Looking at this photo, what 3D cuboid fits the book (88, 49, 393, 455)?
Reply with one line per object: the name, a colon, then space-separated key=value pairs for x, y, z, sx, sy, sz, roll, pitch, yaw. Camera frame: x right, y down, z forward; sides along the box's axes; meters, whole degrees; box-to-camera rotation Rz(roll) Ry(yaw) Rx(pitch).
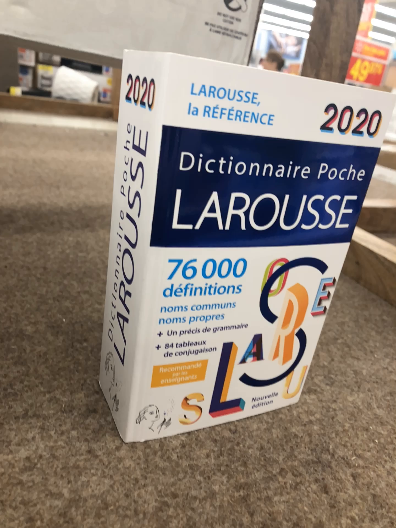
book: x=0.011 y=-0.005 z=0.226 sx=0.111 sy=0.173 sz=0.061 roll=-3 pitch=25 yaw=-27
